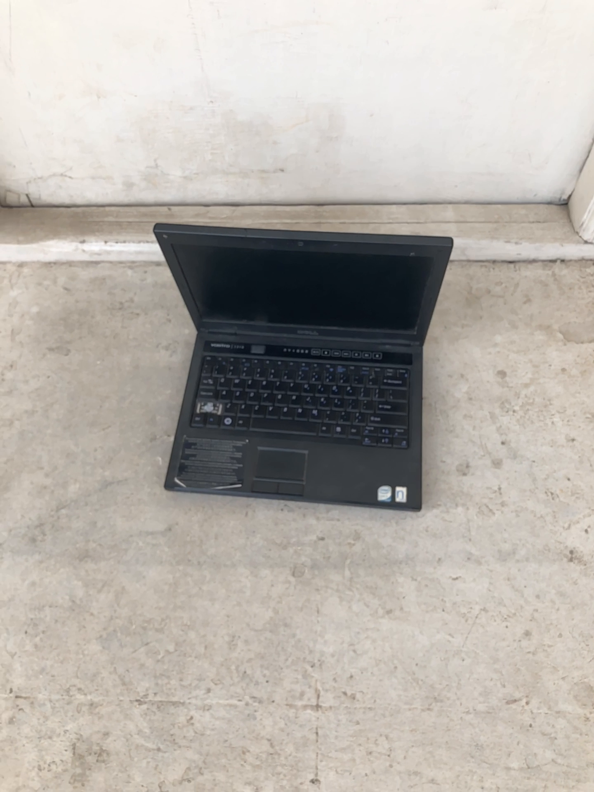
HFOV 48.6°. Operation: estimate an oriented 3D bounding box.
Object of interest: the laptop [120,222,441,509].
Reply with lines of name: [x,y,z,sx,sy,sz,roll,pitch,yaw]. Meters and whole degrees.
laptop: [-0.004,-0.027,0.738,0.292,0.219,0.214,4,62,5]
